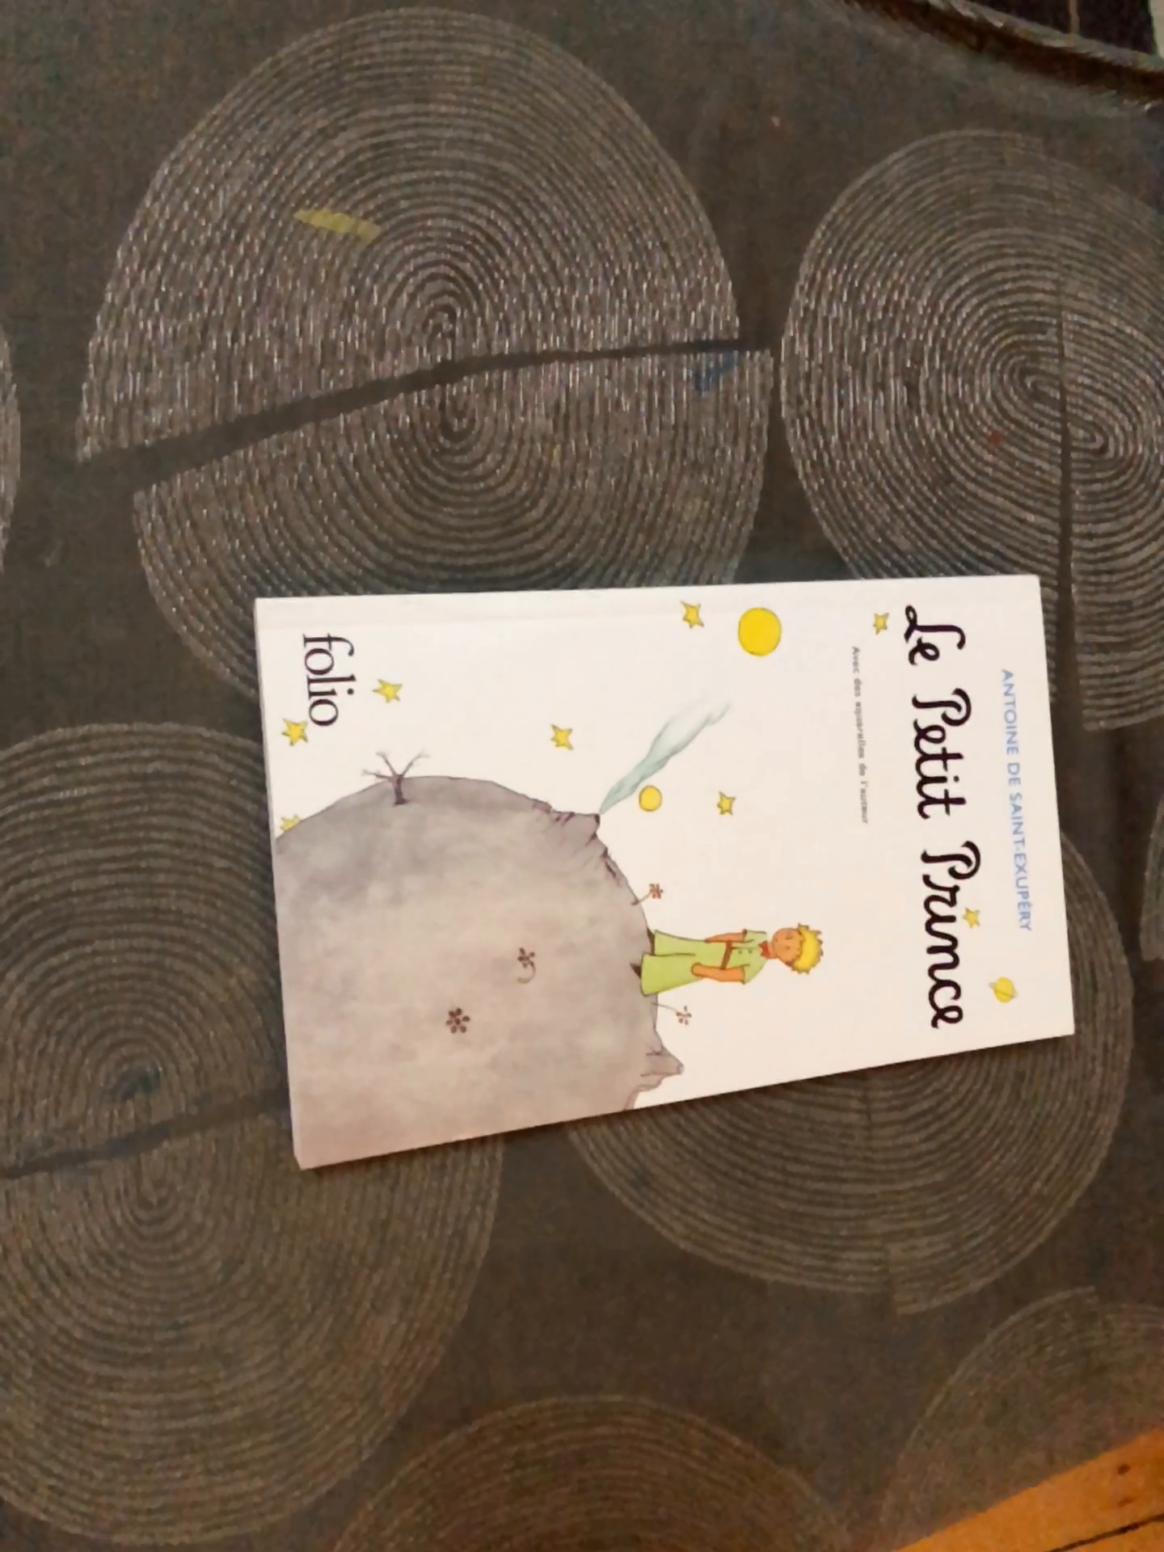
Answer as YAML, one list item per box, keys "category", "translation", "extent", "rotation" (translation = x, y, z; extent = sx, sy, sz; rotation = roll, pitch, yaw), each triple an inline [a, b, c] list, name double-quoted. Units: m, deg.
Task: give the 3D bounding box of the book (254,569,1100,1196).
- category: "book"
  translation: [0.023, 0.016, 0.266]
  extent: [0.170, 0.030, 0.110]
  rotation: [-4, 93, -15]
